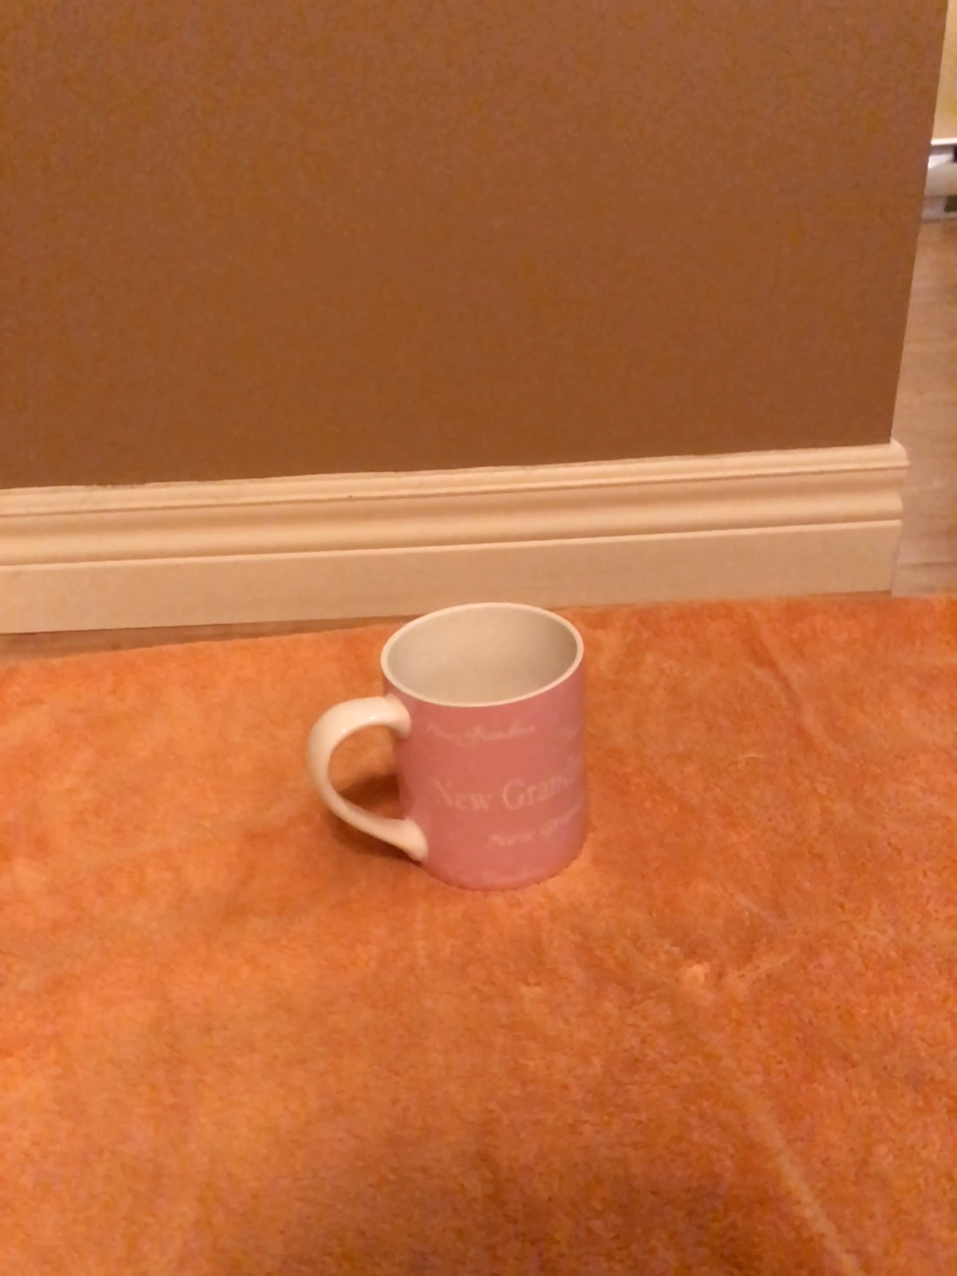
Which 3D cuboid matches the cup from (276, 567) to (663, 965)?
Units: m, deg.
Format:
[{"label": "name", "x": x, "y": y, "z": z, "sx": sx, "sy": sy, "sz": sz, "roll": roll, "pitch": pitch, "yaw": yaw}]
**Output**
[{"label": "cup", "x": -0.005, "y": 0.051, "z": 0.487, "sx": 0.140, "sy": 0.109, "sz": 0.110, "roll": -13, "pitch": 30, "yaw": -17}]
